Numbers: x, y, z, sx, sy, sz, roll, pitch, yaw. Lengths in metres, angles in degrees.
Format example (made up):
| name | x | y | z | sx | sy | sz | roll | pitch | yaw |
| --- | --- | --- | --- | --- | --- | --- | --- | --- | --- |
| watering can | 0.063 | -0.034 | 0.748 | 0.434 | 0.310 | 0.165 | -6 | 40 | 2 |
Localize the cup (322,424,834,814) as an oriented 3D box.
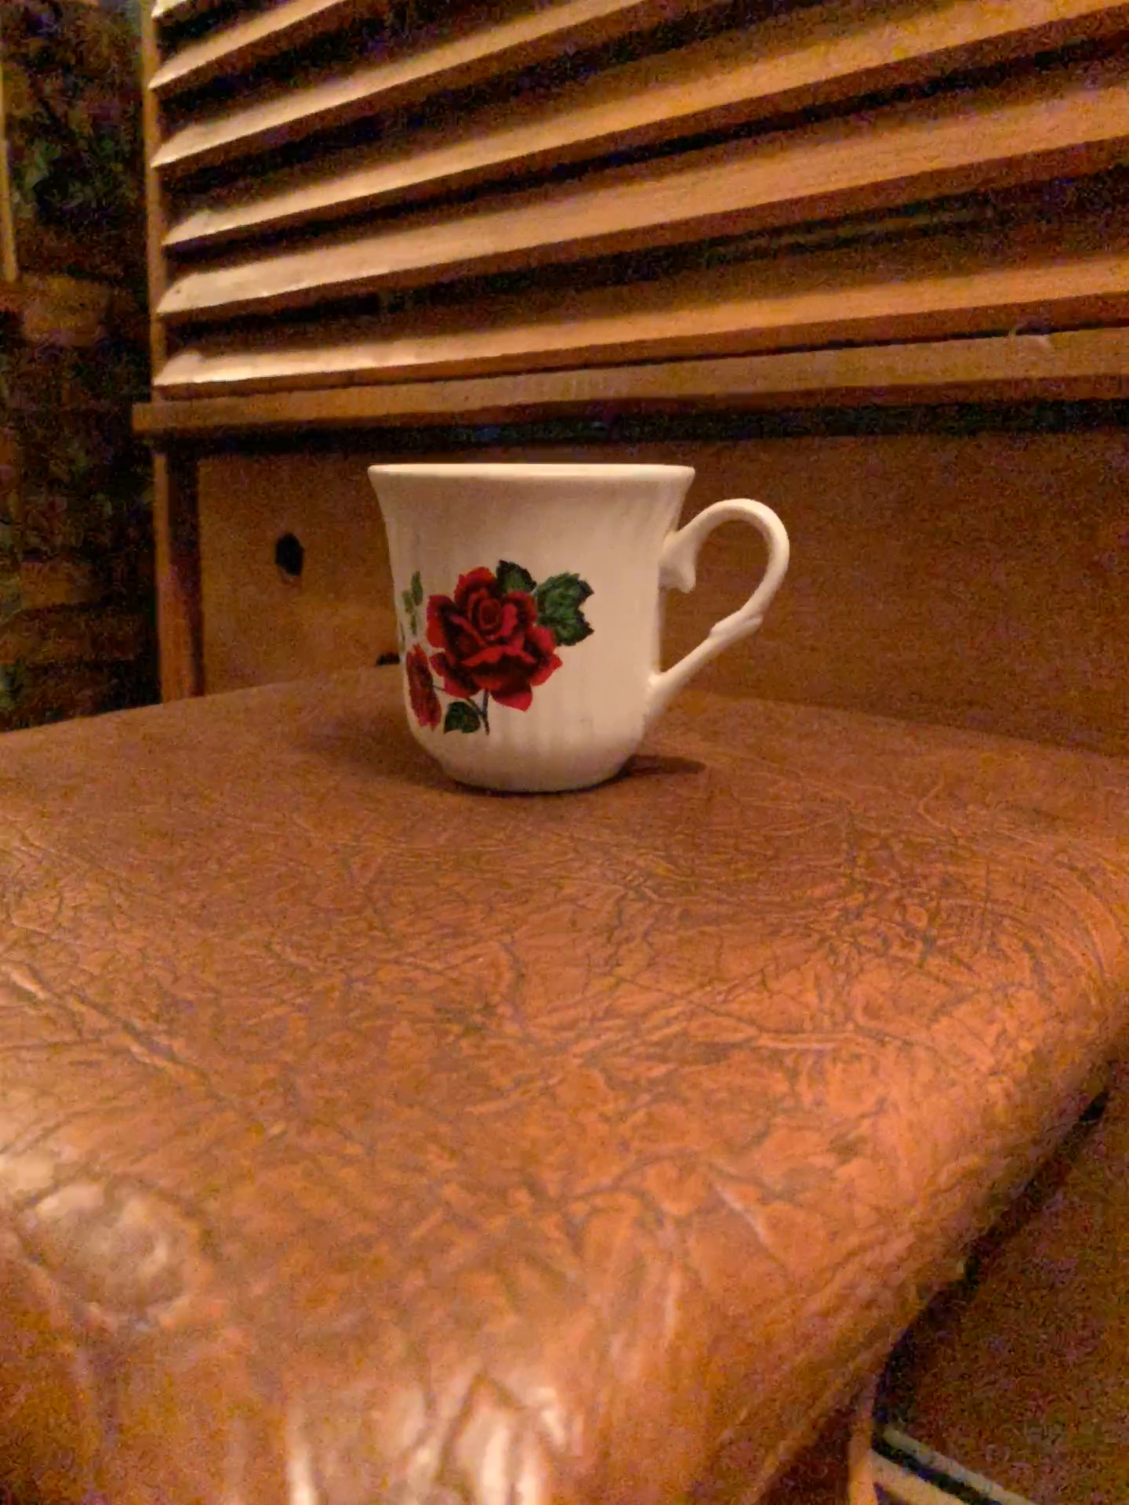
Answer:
| name | x | y | z | sx | sy | sz | roll | pitch | yaw |
| --- | --- | --- | --- | --- | --- | --- | --- | --- | --- |
| cup | 0.008 | -0.039 | 0.303 | 0.111 | 0.082 | 0.085 | 4 | 12 | 15 |
